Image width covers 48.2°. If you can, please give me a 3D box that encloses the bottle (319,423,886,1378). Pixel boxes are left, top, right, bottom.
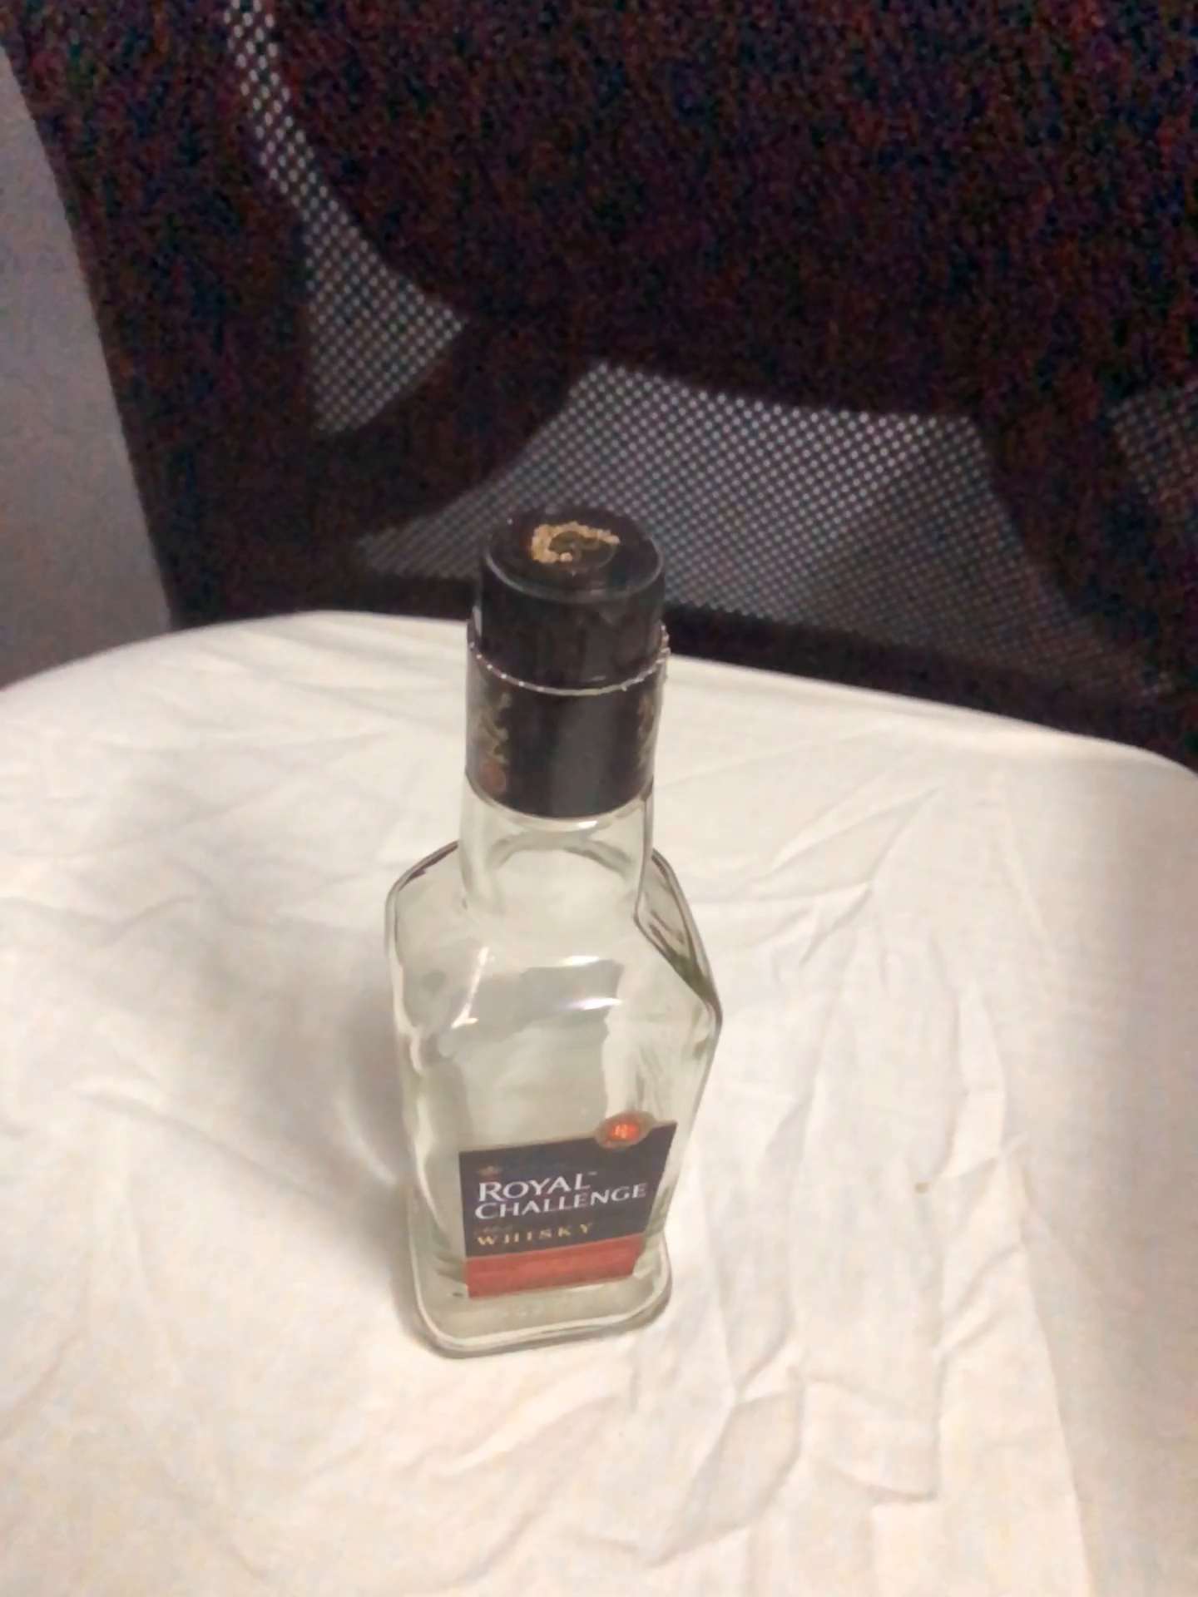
[{"bbox_3d":[-0.009,0.034,0.252,0.070,0.199,0.050,-5,43,-12],"label":"bottle"}]
